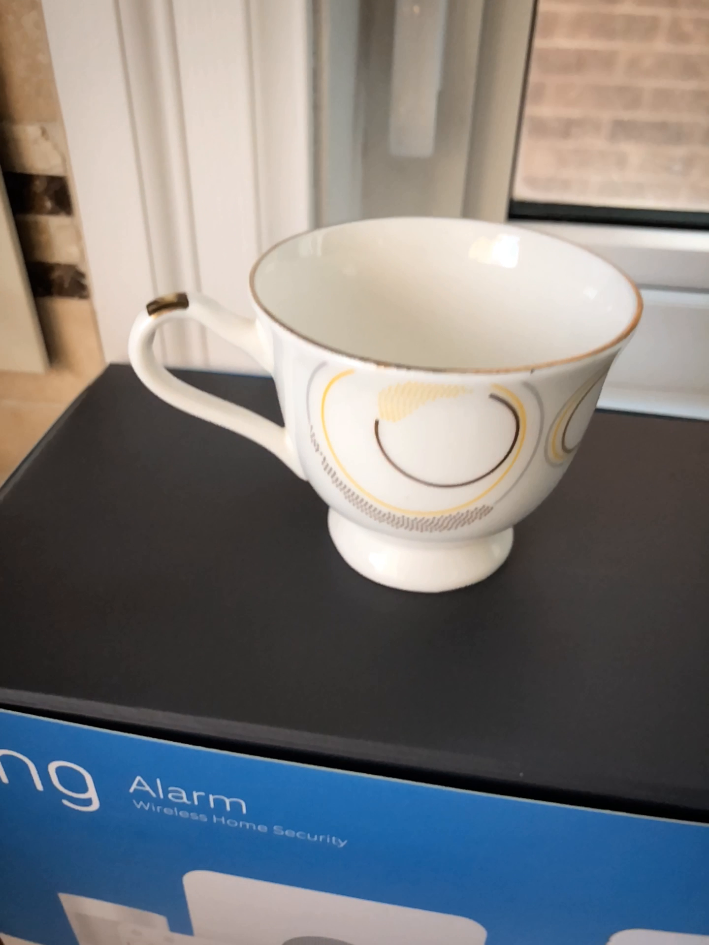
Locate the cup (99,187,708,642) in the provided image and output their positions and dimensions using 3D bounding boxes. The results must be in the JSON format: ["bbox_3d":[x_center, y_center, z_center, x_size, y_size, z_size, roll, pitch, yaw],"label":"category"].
[{"bbox_3d":[0.010,-0.017,0.183,0.100,0.066,0.077,3,38,3],"label":"cup"}]
